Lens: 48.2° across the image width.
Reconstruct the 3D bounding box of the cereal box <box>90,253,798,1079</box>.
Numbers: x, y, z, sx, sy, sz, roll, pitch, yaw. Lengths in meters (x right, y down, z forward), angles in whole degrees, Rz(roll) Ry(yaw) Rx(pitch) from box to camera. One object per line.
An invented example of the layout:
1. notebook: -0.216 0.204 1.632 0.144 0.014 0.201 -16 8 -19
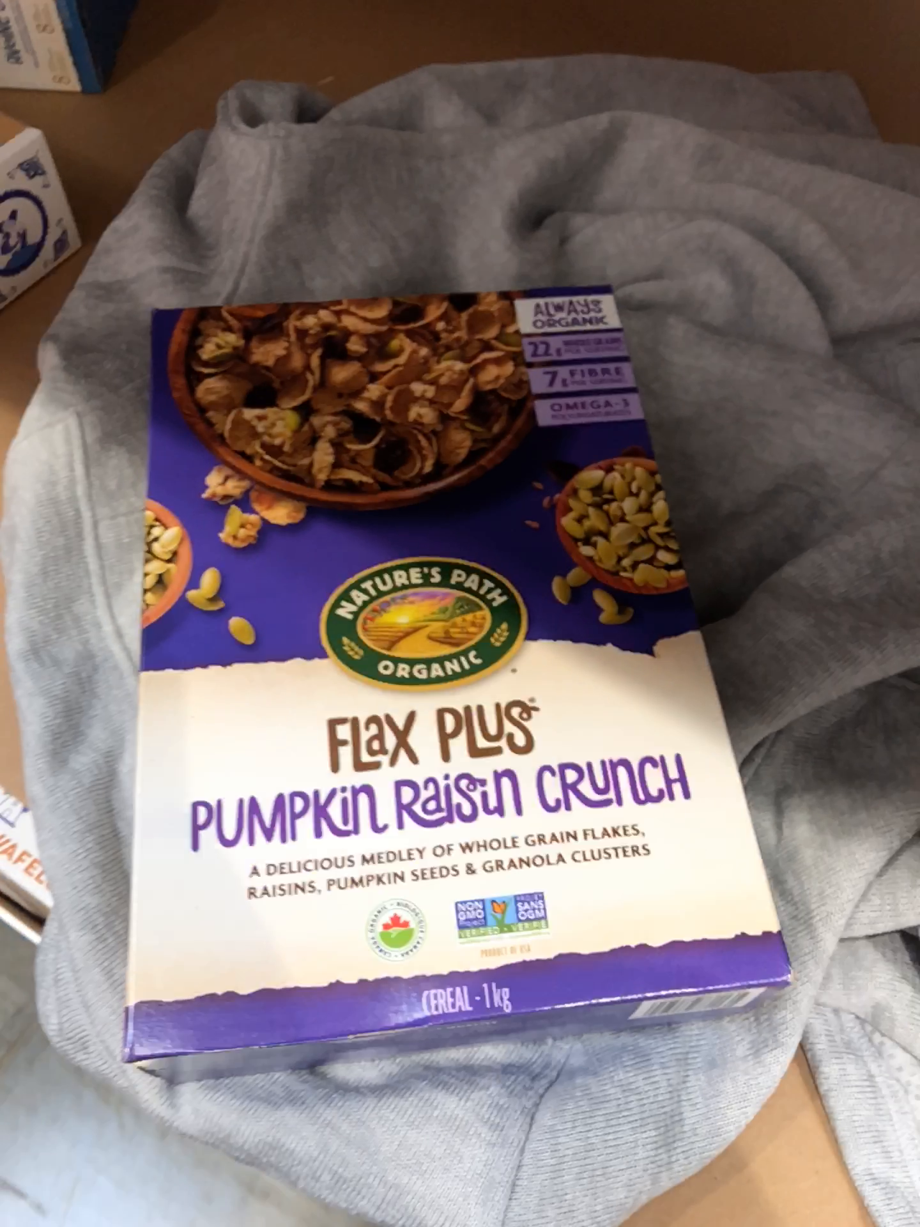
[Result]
1. cereal box: -0.021 0.003 0.417 0.210 0.090 0.311 -4 61 -6
